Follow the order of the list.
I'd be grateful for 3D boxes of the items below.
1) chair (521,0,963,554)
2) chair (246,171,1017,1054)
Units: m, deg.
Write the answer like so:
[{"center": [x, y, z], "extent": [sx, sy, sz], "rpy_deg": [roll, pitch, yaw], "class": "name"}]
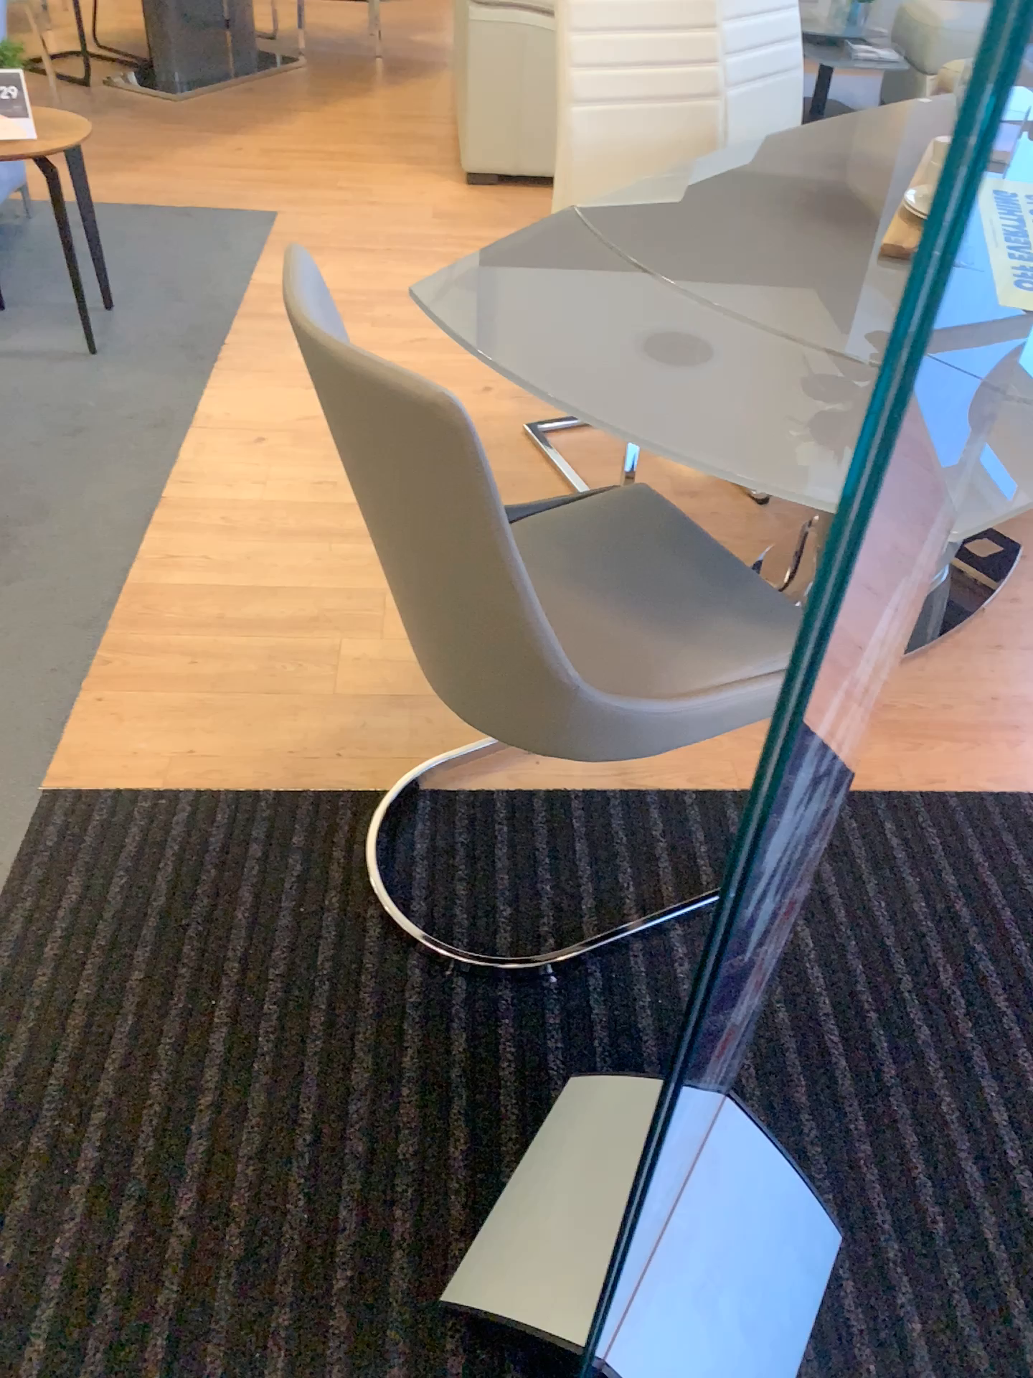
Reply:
[{"center": [0.390, -0.926, 2.257], "extent": [0.507, 1.024, 0.594], "rpy_deg": [-14, 45, -20], "class": "chair"}, {"center": [0.080, -0.098, 1.331], "extent": [0.591, 0.846, 0.510], "rpy_deg": [-20, 47, -25], "class": "chair"}]
